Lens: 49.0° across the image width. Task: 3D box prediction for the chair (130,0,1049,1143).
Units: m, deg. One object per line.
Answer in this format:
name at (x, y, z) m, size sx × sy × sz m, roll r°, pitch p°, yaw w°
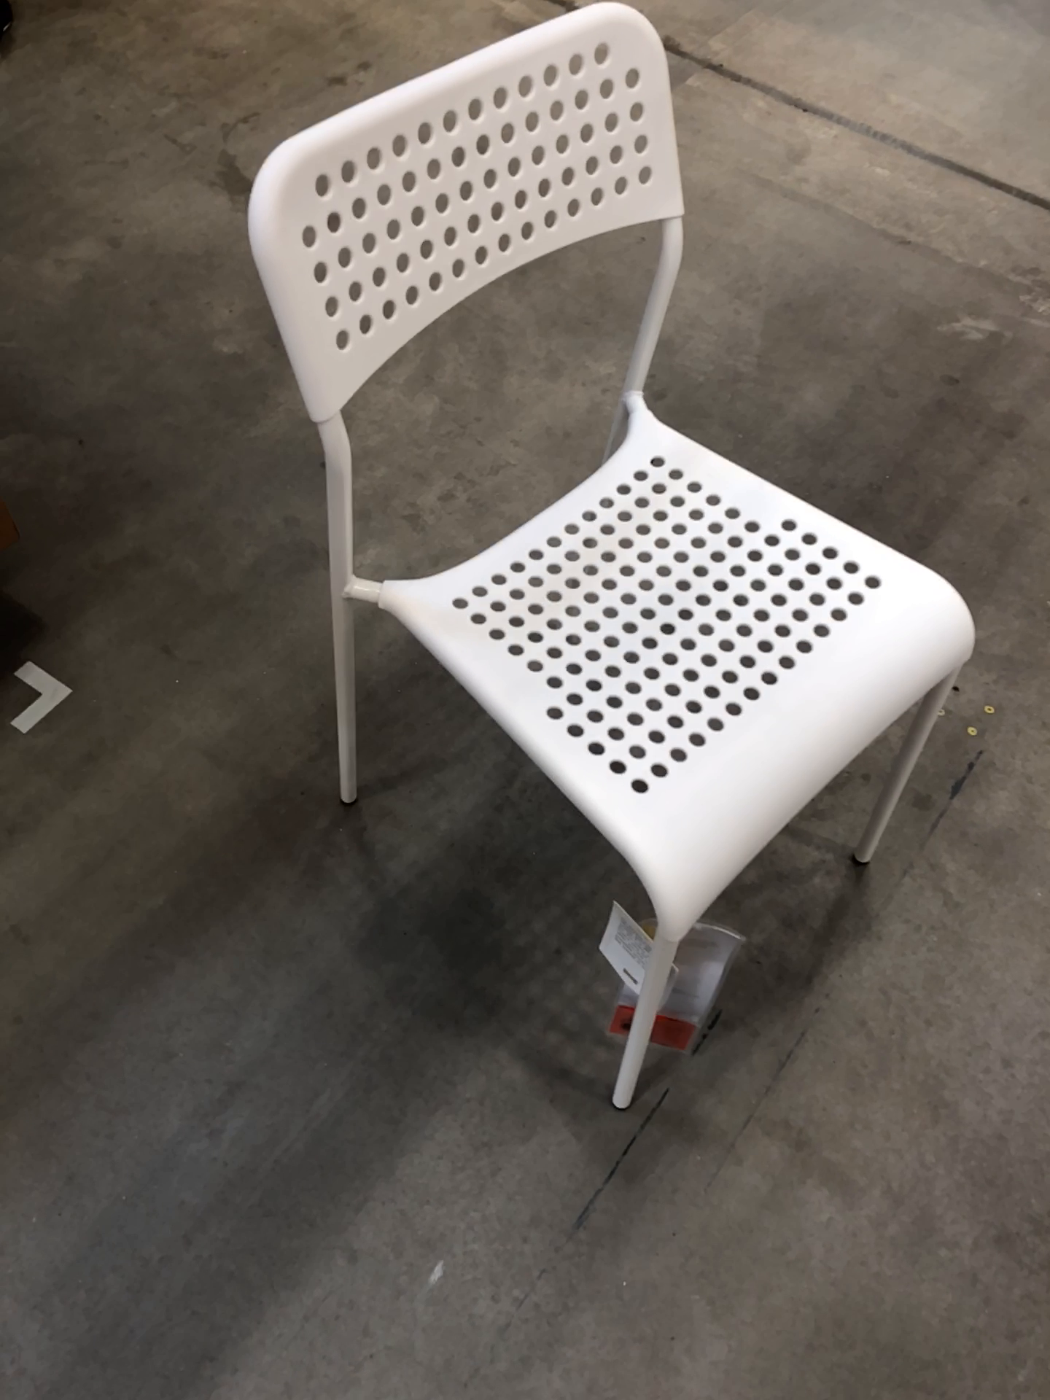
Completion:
chair at (0.101, -0.080, 0.944) m, size 0.461 × 0.698 × 0.511 m, roll -37°, pitch 65°, yaw -24°
